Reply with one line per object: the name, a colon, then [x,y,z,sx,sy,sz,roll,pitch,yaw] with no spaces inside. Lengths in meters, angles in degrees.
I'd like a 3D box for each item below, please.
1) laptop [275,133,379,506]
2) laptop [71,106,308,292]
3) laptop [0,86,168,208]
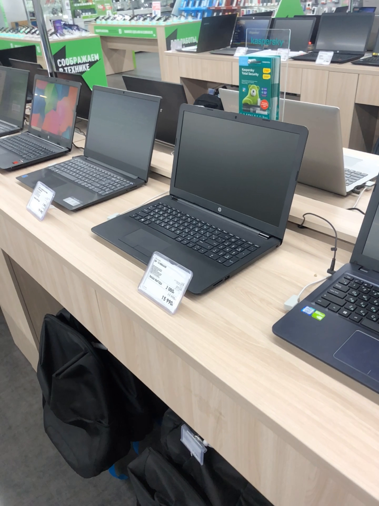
laptop: [0.366,0.021,0.564,0.334,0.209,0.370,-31,41,-34]
laptop: [-0.003,-0.148,0.892,0.312,0.216,0.367,-29,39,-33]
laptop: [-0.309,-0.332,1.230,0.328,0.213,0.332,-29,39,-33]
